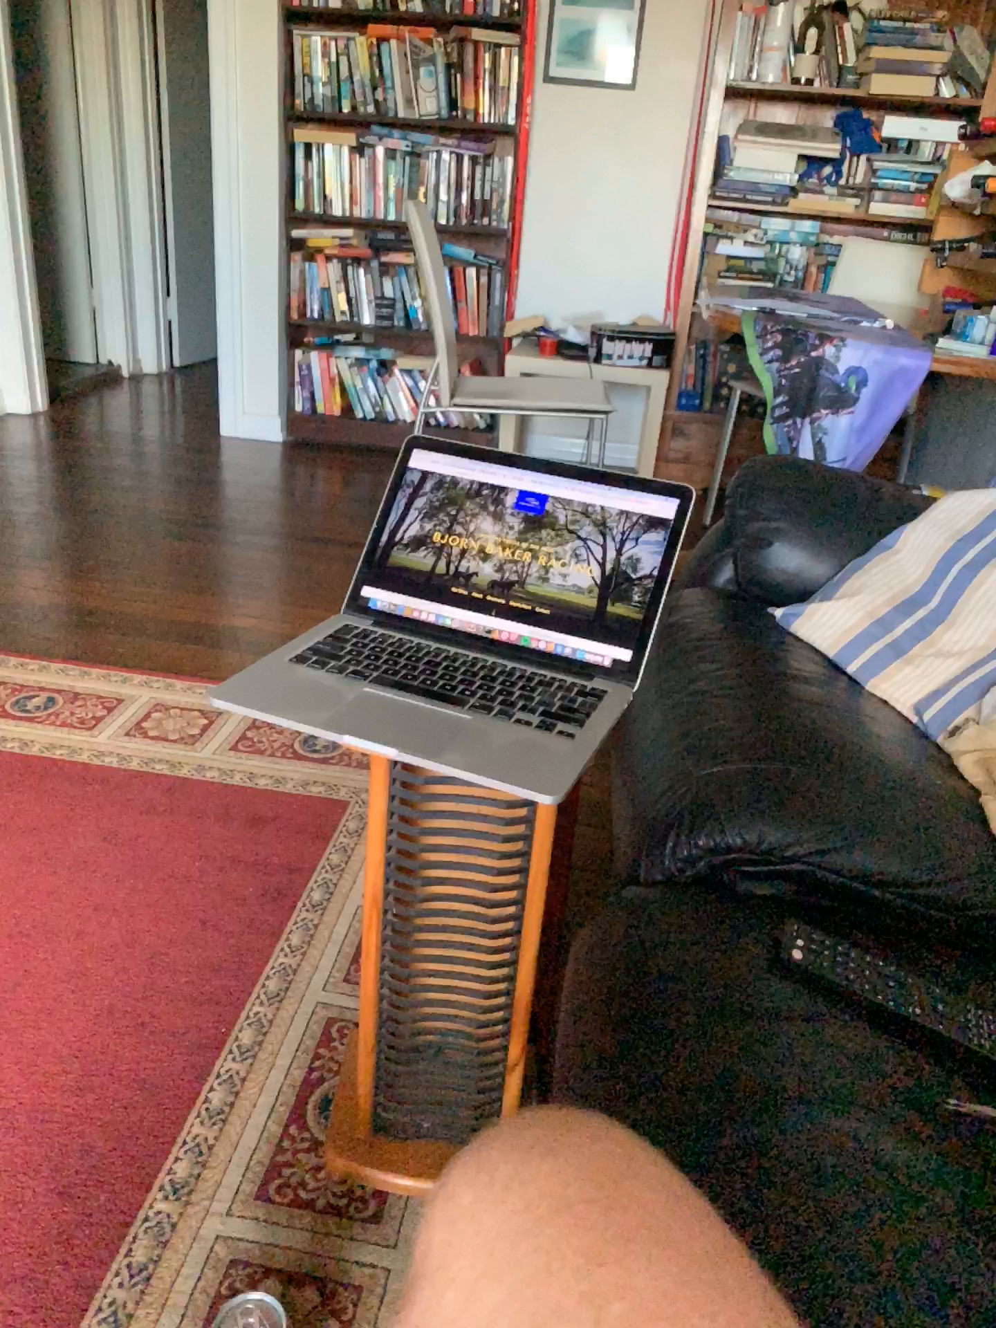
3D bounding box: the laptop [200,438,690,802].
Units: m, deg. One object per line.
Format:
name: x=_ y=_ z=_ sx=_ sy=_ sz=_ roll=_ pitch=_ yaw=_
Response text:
laptop: x=-0.028 y=-0.069 z=0.909 sx=0.312 sy=0.161 sz=0.341 roll=15 pitch=25 yaw=19
